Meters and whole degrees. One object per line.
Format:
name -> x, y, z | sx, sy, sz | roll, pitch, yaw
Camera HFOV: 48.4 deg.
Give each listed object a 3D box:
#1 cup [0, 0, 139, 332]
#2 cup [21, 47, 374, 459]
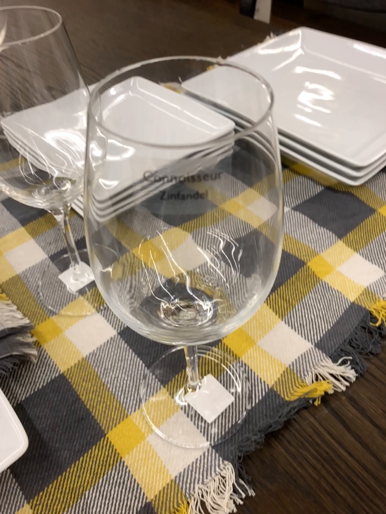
cup -> -0.094, -0.047, 0.283 | 0.092, 0.193, 0.097 | 0, 46, 0
cup -> 0.000, 0.015, 0.215 | 0.092, 0.192, 0.097 | 0, 46, 0
